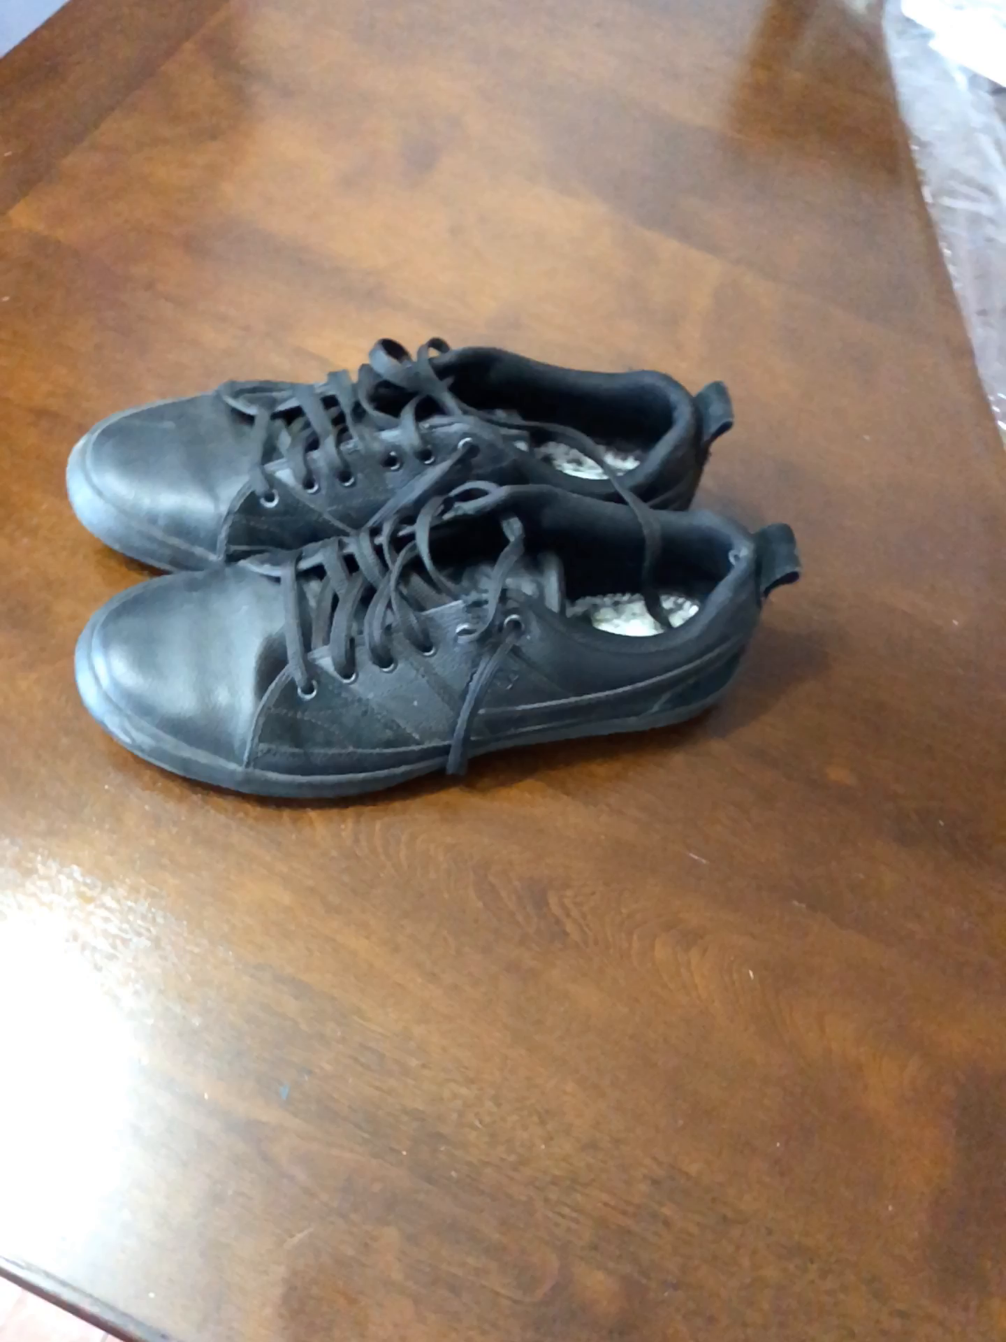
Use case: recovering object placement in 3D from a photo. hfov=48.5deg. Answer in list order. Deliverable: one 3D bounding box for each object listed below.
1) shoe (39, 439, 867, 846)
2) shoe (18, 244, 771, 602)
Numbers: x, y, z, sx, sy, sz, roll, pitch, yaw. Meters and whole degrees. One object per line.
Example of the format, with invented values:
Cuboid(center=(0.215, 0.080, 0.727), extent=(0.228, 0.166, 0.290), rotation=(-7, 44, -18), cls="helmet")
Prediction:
Cuboid(center=(-0.023, -0.013, 0.472), extent=(0.300, 0.110, 0.110), rotation=(-5, 62, -11), cls="shoe")
Cuboid(center=(-0.047, -0.108, 0.519), extent=(0.300, 0.110, 0.110), rotation=(0, 61, -9), cls="shoe")
